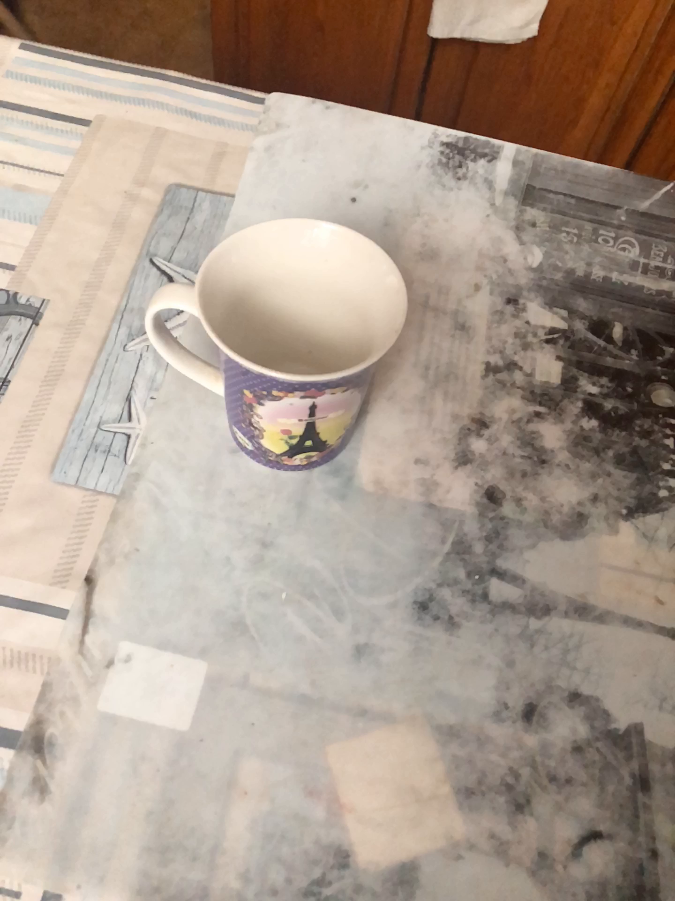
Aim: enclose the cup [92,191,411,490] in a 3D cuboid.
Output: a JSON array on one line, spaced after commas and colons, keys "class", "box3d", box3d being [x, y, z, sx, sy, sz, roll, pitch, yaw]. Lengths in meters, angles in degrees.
[{"class": "cup", "box3d": [-0.034, -0.046, 0.339, 0.120, 0.085, 0.090, 5, 60, -4]}]
